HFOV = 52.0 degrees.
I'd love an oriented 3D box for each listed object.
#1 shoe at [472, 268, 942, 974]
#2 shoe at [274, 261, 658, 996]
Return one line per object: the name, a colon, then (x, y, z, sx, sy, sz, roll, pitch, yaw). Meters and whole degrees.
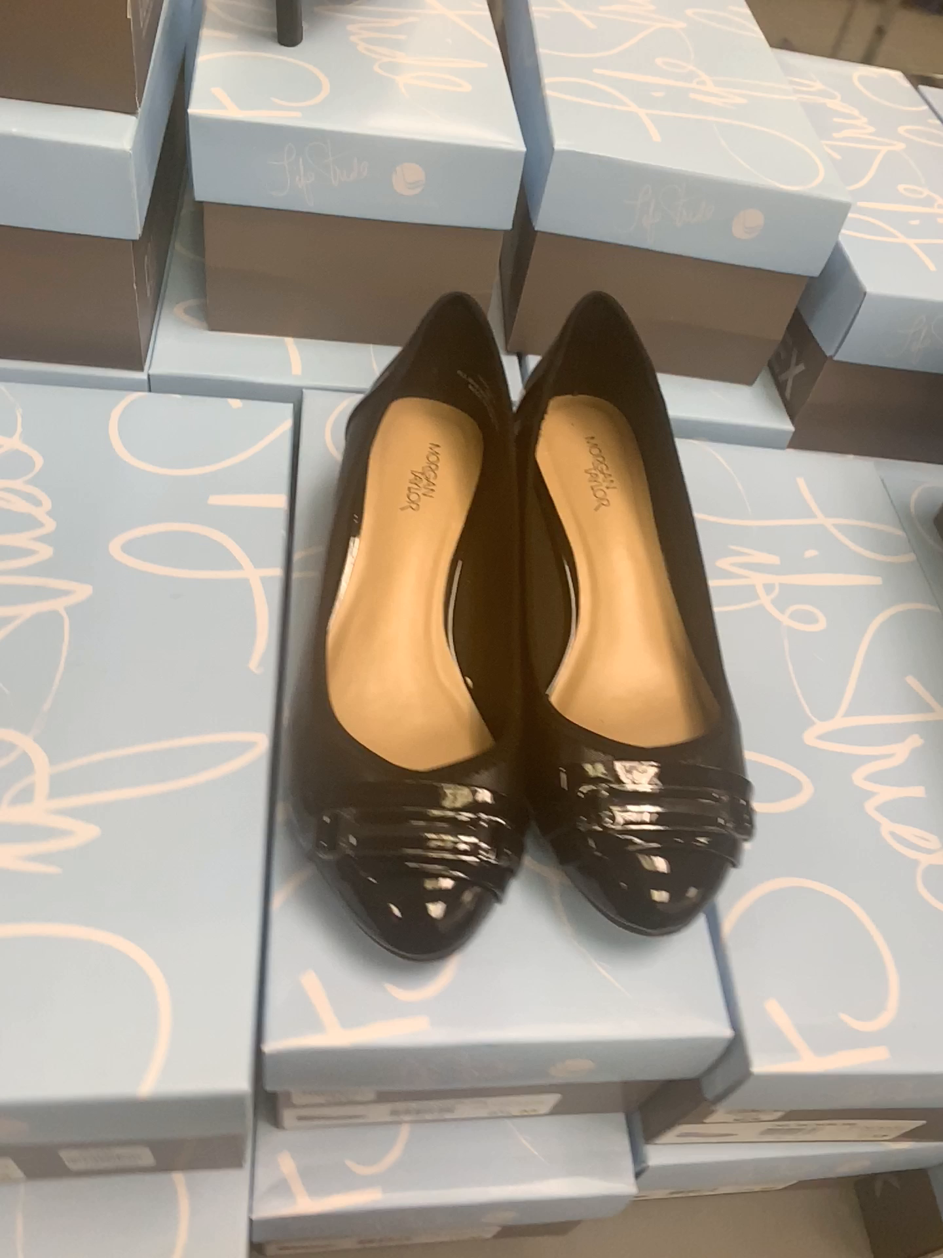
shoe: (0.061, -0.016, 0.357, 0.090, 0.095, 0.252, 3, 51, -10)
shoe: (-0.010, -0.013, 0.340, 0.090, 0.095, 0.246, 5, 50, -8)
